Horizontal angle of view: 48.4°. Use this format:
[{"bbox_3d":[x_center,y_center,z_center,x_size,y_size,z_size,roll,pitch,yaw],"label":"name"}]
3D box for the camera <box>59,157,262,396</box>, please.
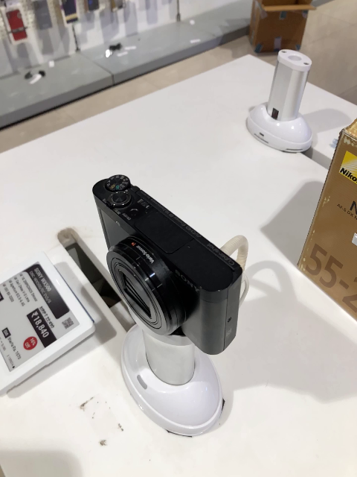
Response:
[{"bbox_3d":[-0.013,0.017,0.208,0.030,0.070,0.110,-33,55,-25],"label":"camera"}]
